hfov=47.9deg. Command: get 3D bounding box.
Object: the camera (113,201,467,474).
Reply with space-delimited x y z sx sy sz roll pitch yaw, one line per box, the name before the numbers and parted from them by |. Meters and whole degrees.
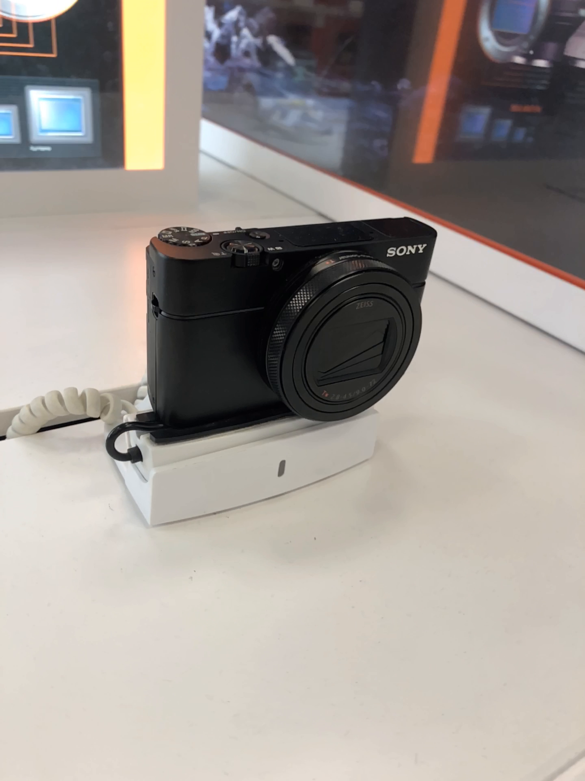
camera | -0.001 -0.024 0.230 0.110 0.070 0.040 -12 34 -30
